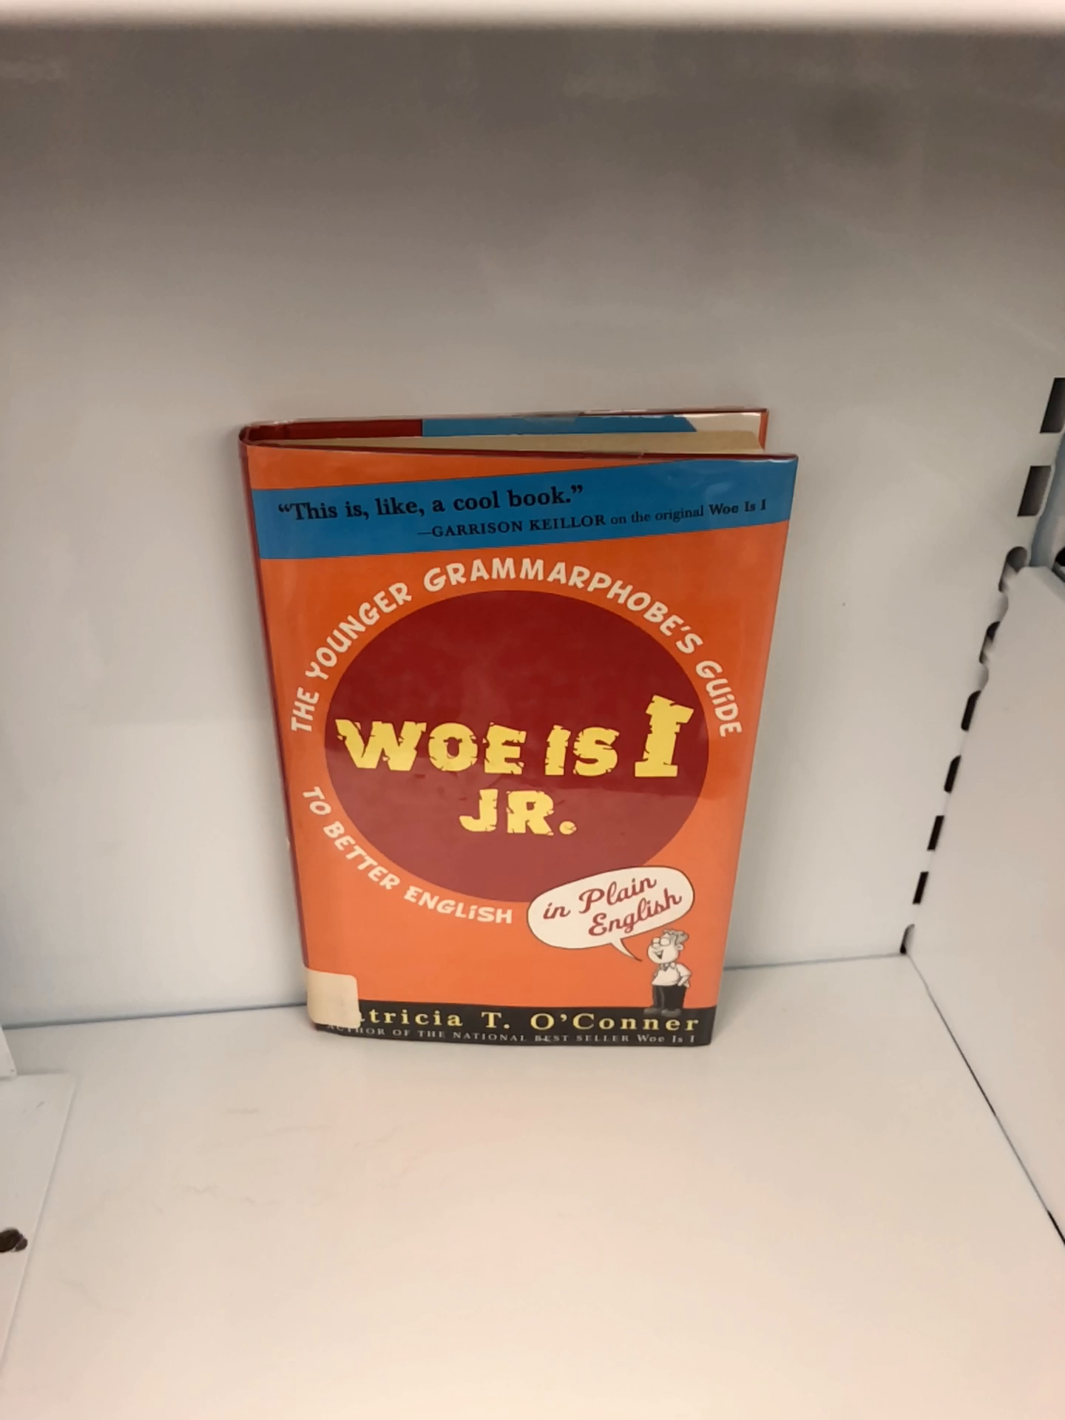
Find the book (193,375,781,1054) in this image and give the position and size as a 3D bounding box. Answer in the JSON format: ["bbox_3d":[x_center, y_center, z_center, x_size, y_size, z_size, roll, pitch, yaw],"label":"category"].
[{"bbox_3d":[-0.012,0.010,0.342,0.137,0.199,0.038,-3,31,-6],"label":"book"}]
